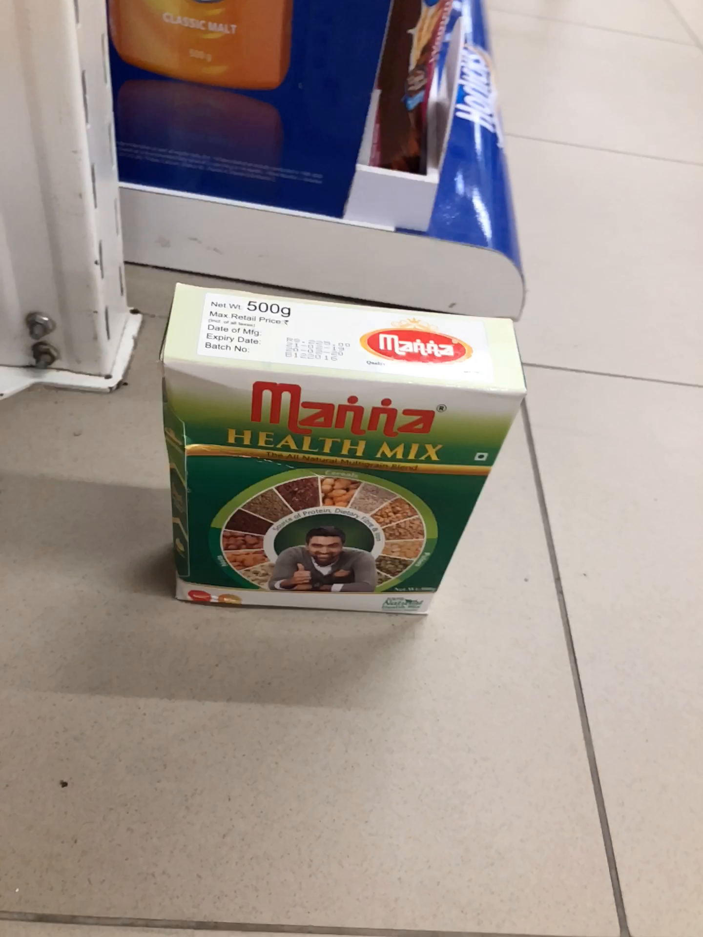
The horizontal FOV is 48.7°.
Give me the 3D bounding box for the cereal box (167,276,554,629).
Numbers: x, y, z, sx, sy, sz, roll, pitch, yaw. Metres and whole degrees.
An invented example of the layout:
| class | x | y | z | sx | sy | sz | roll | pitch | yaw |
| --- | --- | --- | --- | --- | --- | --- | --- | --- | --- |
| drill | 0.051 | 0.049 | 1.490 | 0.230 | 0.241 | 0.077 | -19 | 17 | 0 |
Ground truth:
| class | x | y | z | sx | sy | sz | roll | pitch | yaw |
| --- | --- | --- | --- | --- | --- | --- | --- | --- | --- |
| cereal box | -0.010 | 0.007 | 0.383 | 0.150 | 0.189 | 0.050 | 4 | 49 | -9 |
